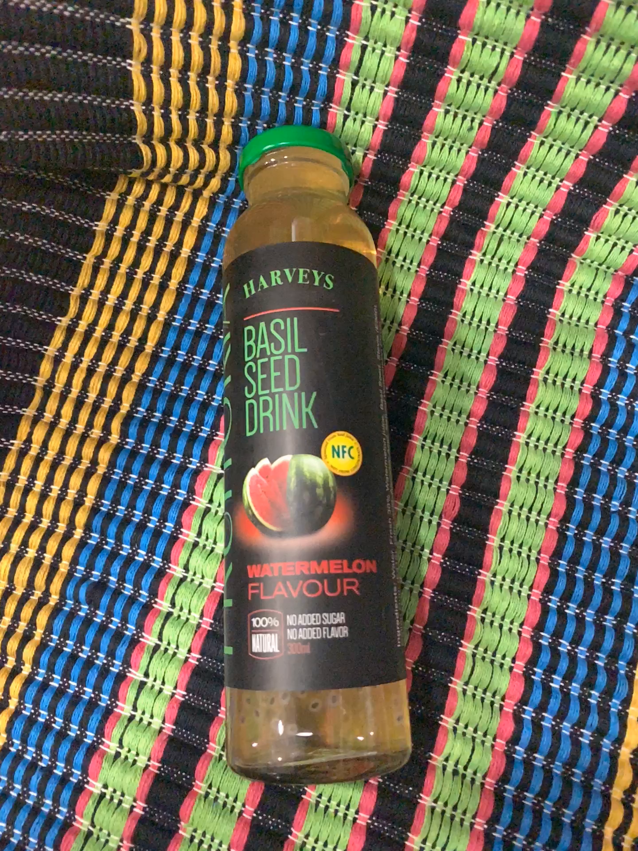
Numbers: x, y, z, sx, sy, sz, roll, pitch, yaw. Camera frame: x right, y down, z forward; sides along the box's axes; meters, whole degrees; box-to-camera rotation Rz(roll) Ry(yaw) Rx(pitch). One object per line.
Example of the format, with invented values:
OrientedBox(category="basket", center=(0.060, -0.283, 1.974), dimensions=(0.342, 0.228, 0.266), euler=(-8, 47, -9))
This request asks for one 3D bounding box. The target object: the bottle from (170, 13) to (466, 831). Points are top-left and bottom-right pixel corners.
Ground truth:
OrientedBox(category="bottle", center=(-0.001, -0.005, 0.193), dimensions=(0.060, 0.060, 0.200), euler=(-7, 76, 18))
